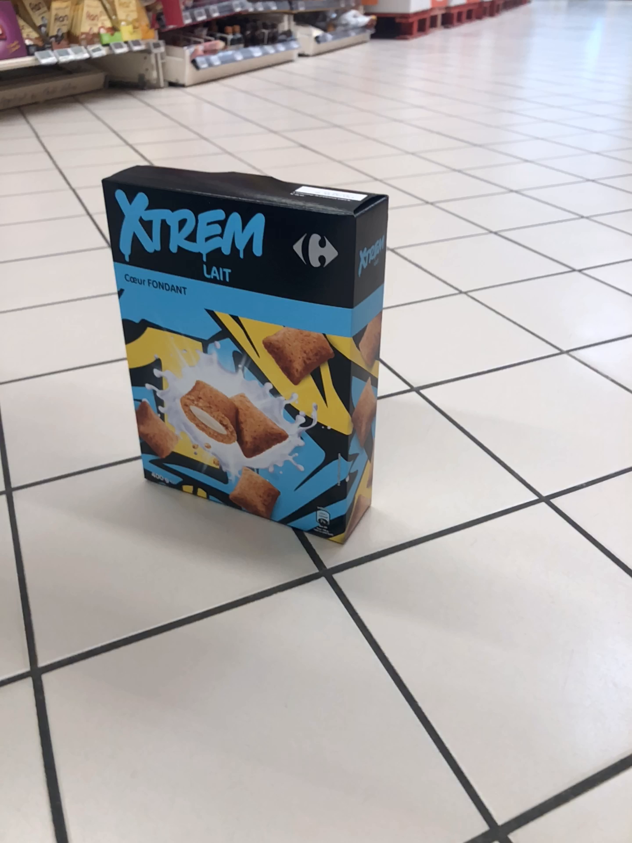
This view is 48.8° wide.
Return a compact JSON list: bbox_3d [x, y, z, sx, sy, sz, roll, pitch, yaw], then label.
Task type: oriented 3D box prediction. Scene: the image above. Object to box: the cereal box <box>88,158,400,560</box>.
[{"bbox_3d":[-0.050,-0.045,0.517,0.200,0.258,0.060,15,35,23],"label":"cereal box"}]
